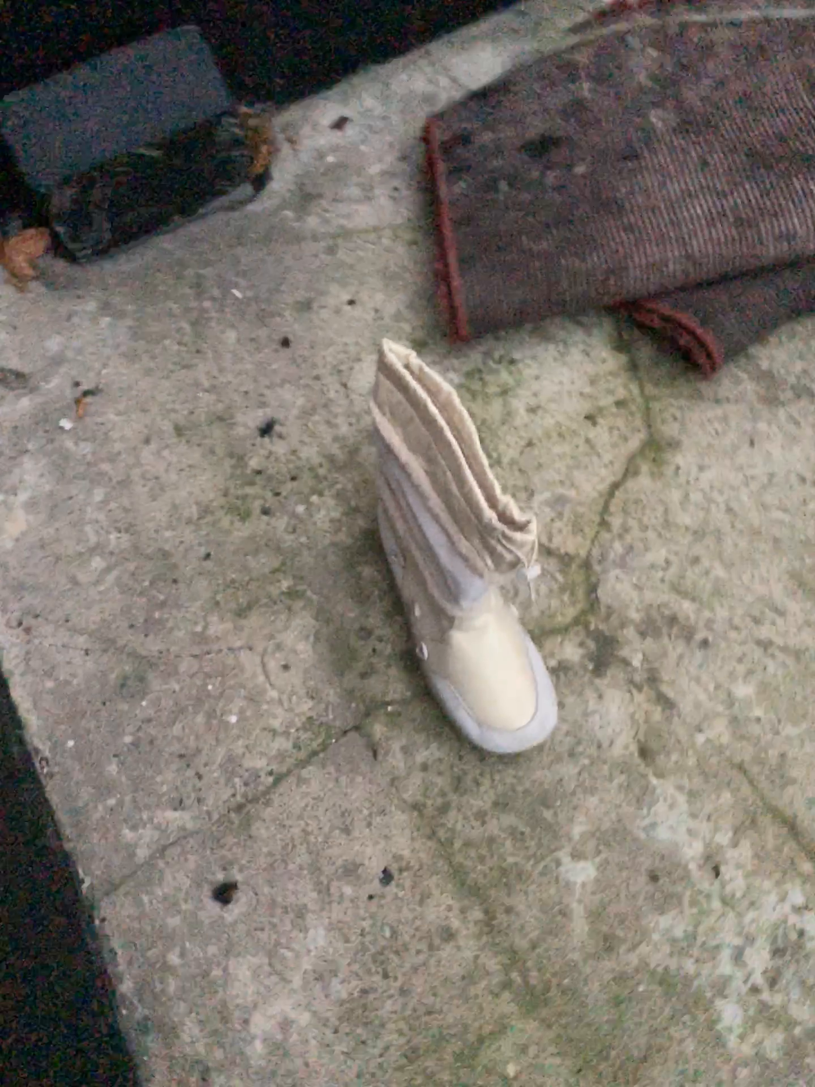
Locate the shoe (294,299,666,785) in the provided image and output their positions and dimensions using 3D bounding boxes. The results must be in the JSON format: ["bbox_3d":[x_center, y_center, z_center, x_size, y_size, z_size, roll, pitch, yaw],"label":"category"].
[{"bbox_3d":[0.047,0.026,0.658,0.120,0.309,0.271,-25,70,-5],"label":"shoe"}]
